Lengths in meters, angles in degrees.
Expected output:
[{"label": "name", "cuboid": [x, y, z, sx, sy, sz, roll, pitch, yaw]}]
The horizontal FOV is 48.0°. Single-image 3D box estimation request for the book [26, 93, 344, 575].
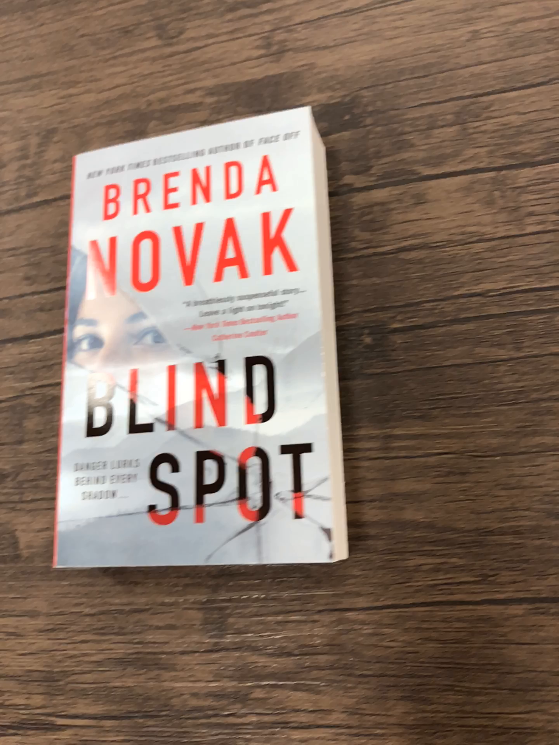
[{"label": "book", "cuboid": [-0.037, -0.013, 0.251, 0.109, 0.039, 0.175, -5, 76, 12]}]
